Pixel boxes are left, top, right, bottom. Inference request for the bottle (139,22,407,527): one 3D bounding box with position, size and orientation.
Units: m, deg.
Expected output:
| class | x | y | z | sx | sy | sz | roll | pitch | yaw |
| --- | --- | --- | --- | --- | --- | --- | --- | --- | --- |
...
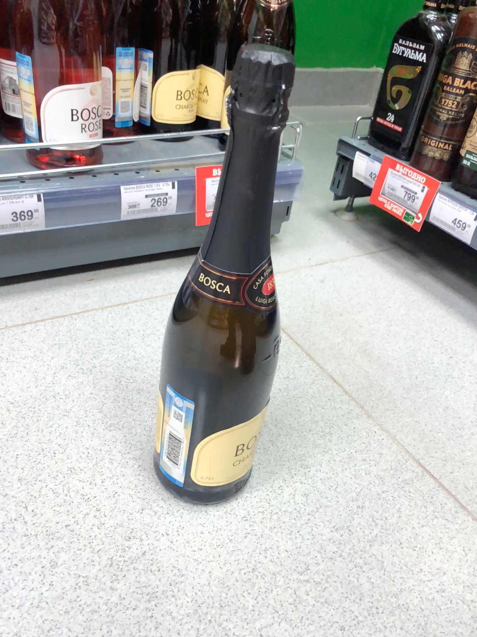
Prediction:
| class | x | y | z | sx | sy | sz | roll | pitch | yaw |
| --- | --- | --- | --- | --- | --- | --- | --- | --- | --- |
| bottle | 0.006 | -0.014 | 0.352 | 0.090 | 0.311 | 0.100 | 25 | 37 | 22 |
